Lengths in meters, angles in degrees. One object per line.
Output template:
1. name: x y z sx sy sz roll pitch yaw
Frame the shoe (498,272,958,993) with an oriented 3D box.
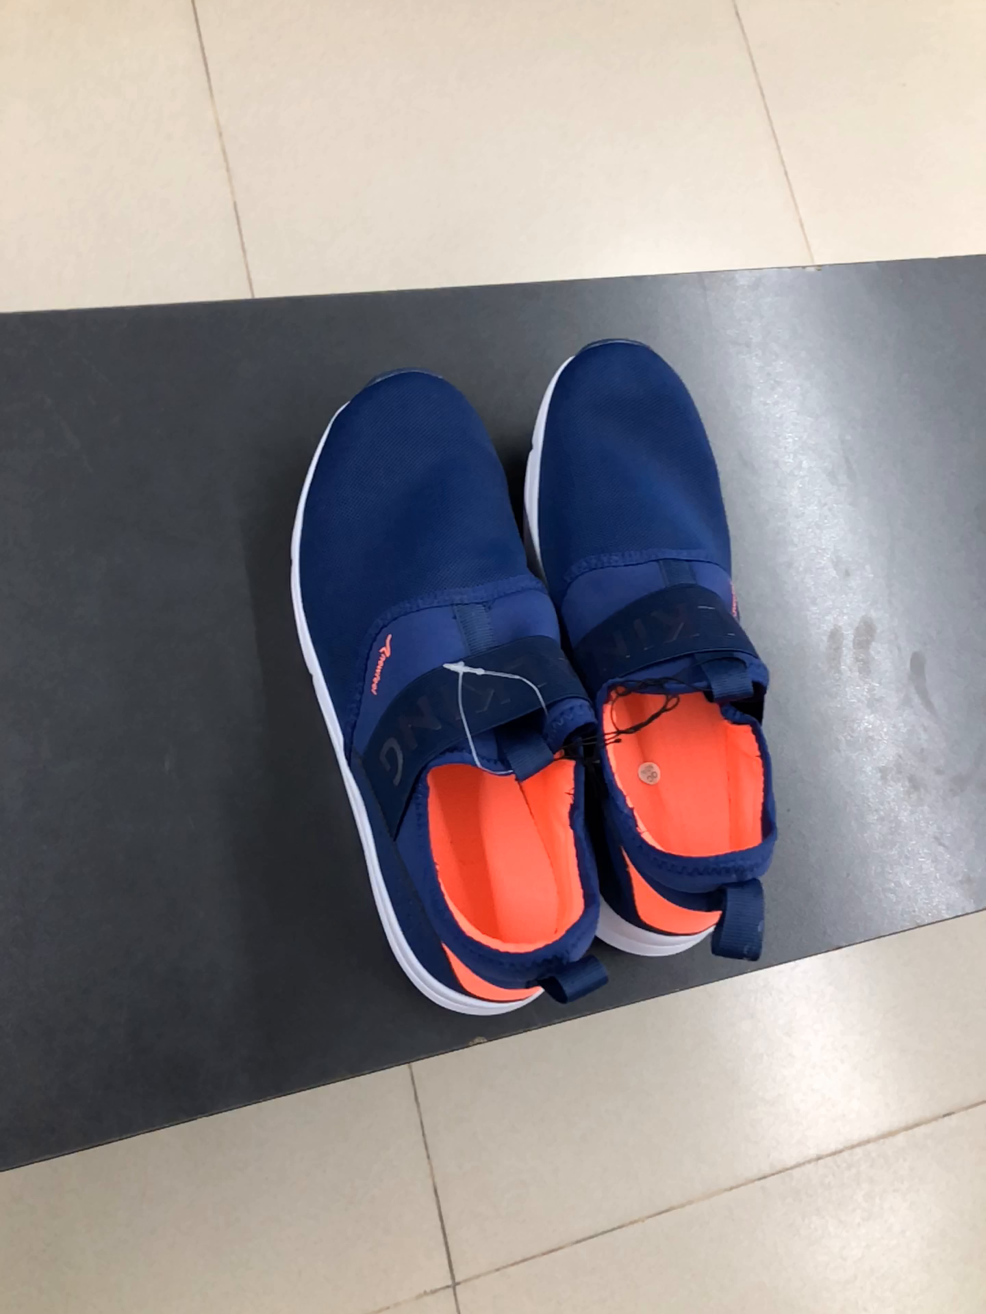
1. shoe: 0.074 -0.006 0.418 0.110 0.120 0.240 -3 78 -9

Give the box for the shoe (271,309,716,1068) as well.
1. shoe: -0.013 0.011 0.440 0.110 0.120 0.260 -7 79 -16
